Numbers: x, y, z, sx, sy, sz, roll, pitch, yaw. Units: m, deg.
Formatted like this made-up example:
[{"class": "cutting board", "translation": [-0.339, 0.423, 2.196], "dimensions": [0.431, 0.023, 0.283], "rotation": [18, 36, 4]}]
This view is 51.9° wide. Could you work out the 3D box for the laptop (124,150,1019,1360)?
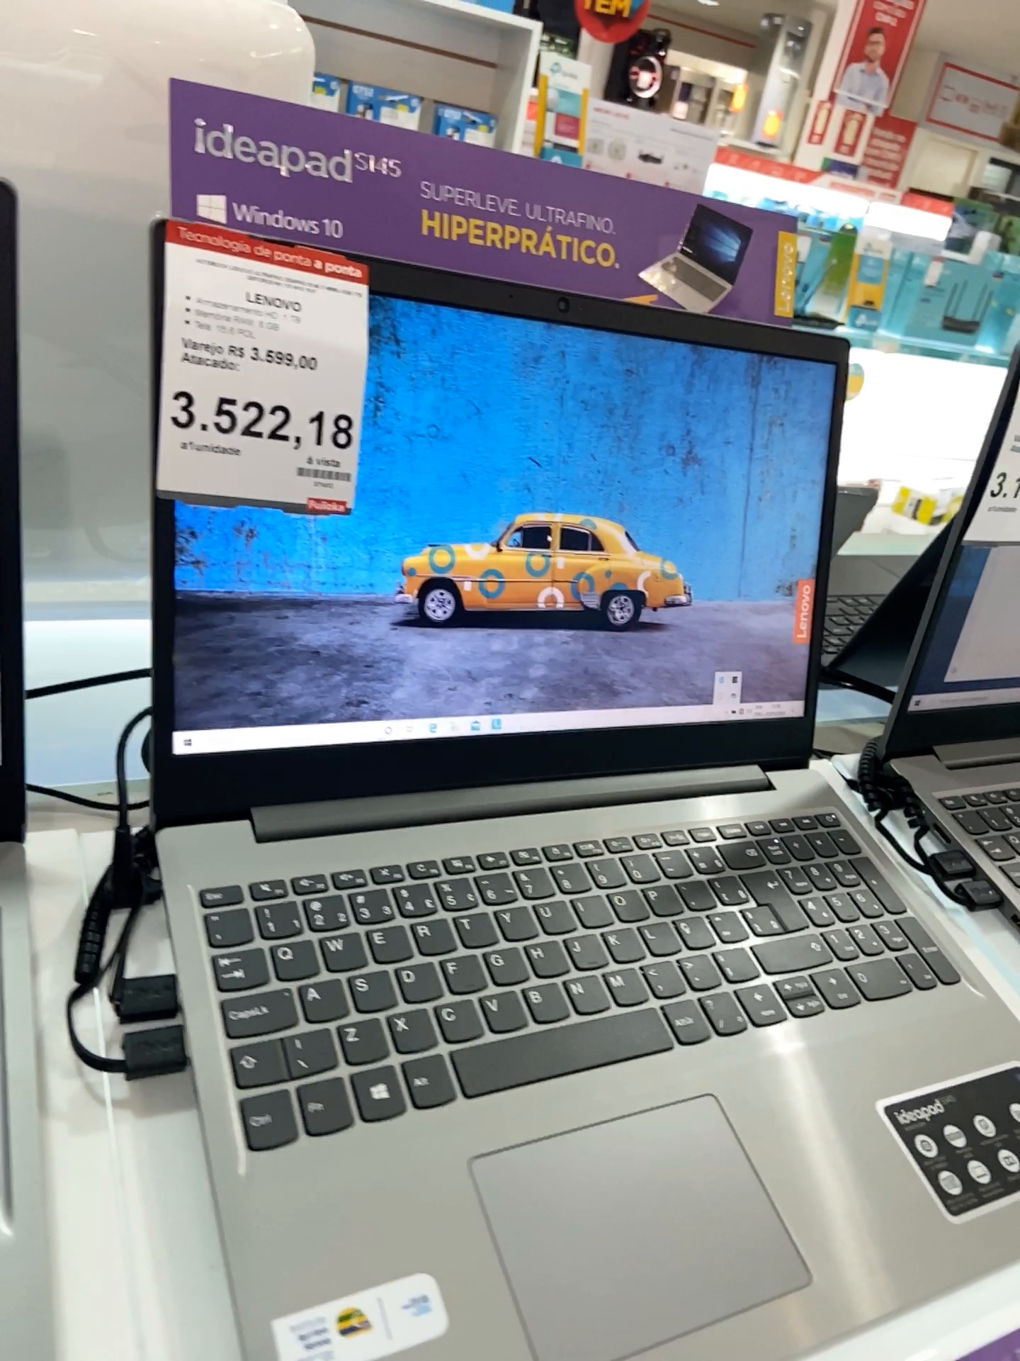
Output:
[{"class": "laptop", "translation": [0.055, -0.003, 0.408], "dimensions": [0.347, 0.209, 0.366], "rotation": [-2, 38, -26]}]
